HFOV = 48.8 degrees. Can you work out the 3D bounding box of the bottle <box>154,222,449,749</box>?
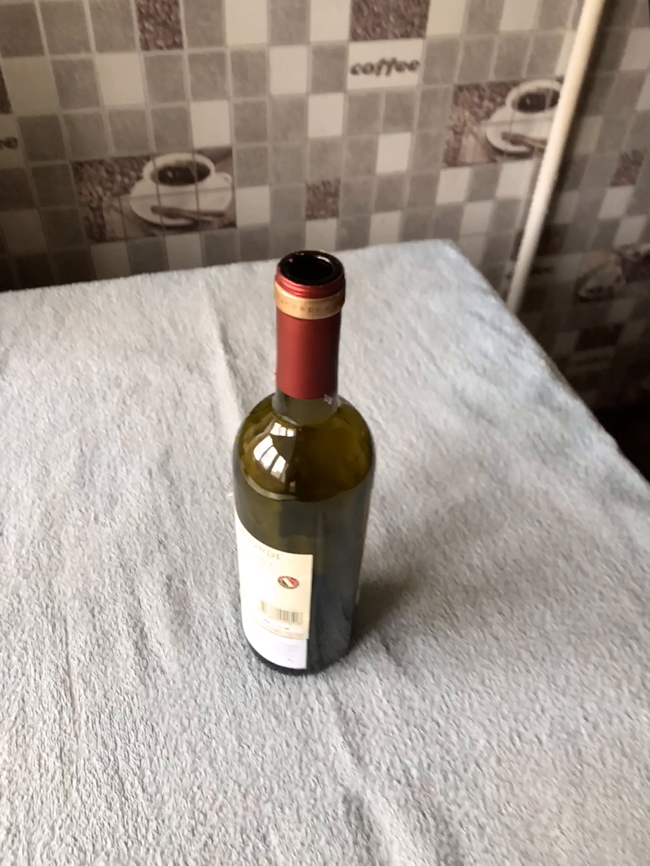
[{"bbox_3d":[-0.014,0.053,0.381,0.080,0.298,0.080,1,46,-1],"label":"bottle"}]
